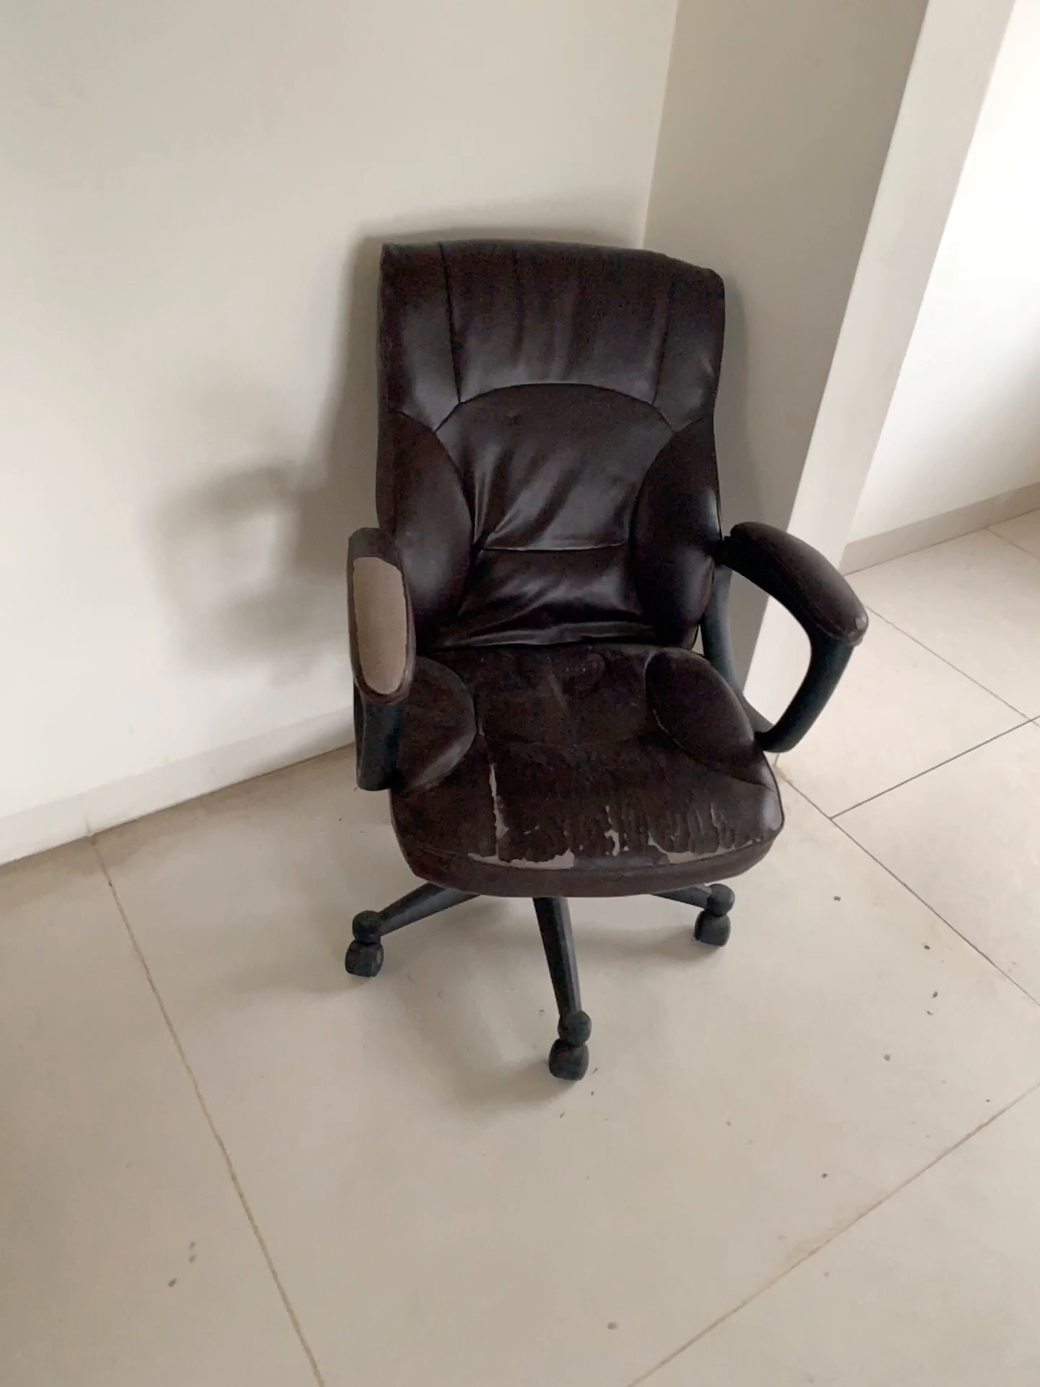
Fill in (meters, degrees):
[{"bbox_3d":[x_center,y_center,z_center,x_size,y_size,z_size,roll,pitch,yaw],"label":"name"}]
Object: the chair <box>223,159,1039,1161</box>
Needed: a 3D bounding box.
[{"bbox_3d":[0.038,-0.052,1.401,0.700,0.996,0.793,-2,40,-10],"label":"chair"}]
